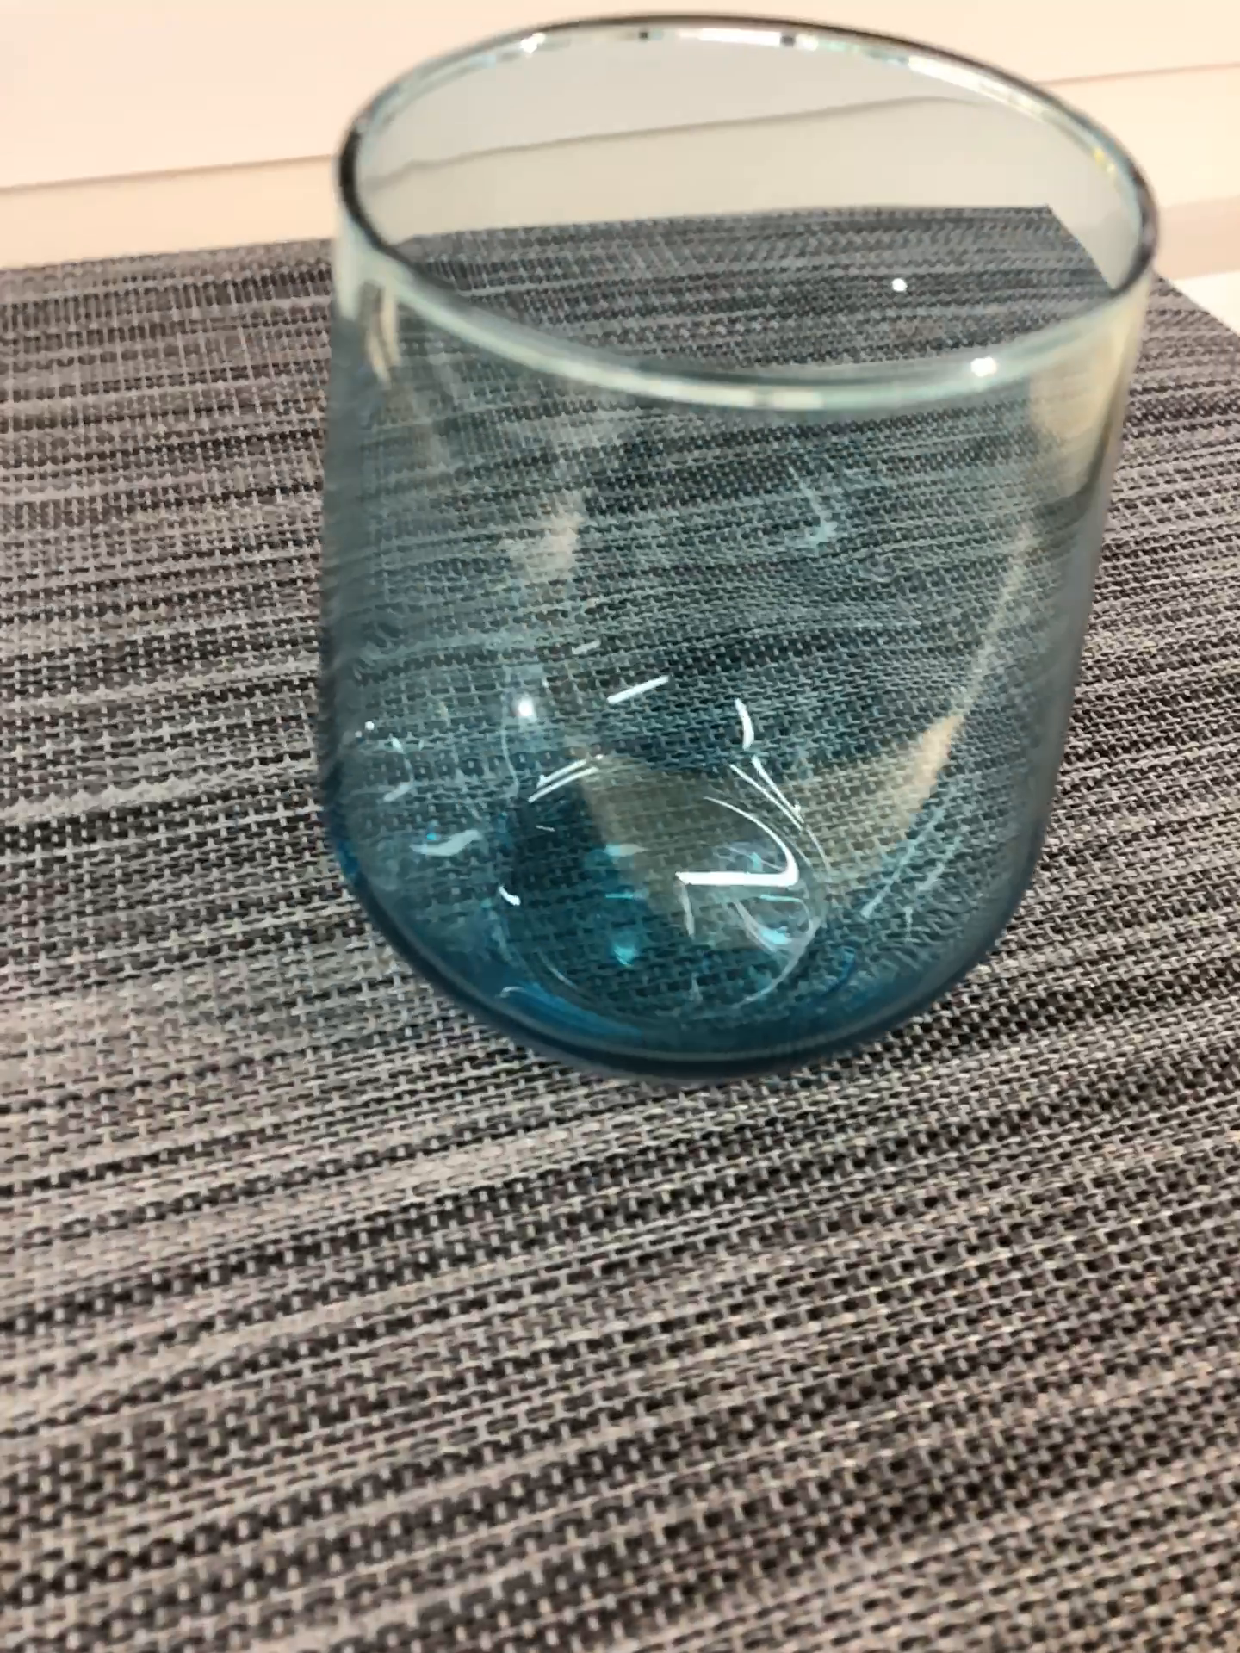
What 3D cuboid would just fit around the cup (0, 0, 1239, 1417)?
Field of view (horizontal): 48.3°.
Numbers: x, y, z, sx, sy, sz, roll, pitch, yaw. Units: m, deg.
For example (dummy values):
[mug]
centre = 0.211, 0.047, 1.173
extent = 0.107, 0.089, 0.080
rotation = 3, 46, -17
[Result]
[cup]
centre = 0.002, -0.034, 0.176
extent = 0.120, 0.120, 0.120
rotation = 2, 47, -2
